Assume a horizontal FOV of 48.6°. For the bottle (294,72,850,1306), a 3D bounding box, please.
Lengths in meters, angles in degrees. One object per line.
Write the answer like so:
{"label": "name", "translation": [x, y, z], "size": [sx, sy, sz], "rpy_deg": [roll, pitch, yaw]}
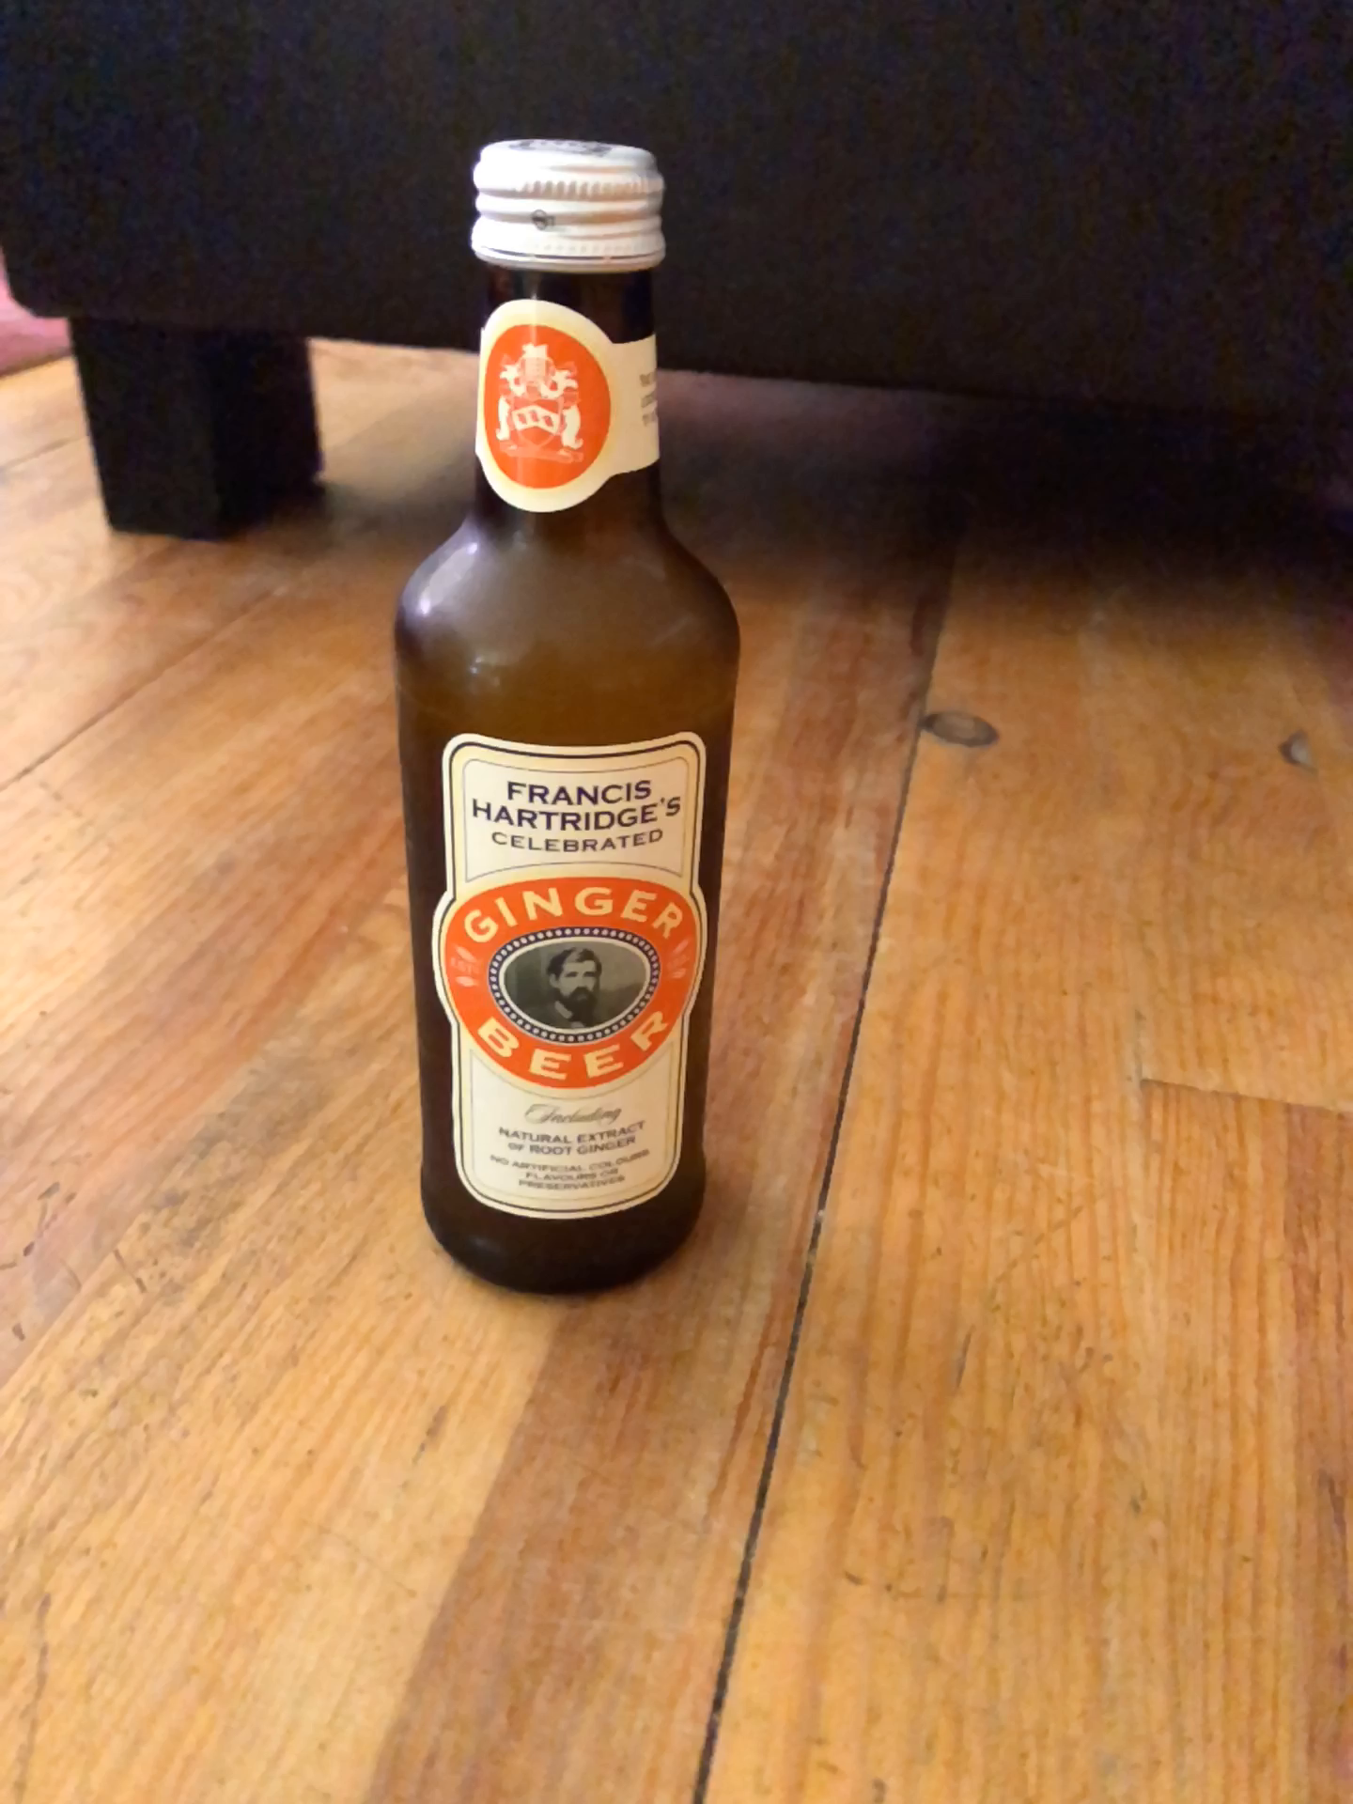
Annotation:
{"label": "bottle", "translation": [-0.019, -0.026, 0.268], "size": [0.070, 0.209, 0.060], "rpy_deg": [0, 31, -4]}
